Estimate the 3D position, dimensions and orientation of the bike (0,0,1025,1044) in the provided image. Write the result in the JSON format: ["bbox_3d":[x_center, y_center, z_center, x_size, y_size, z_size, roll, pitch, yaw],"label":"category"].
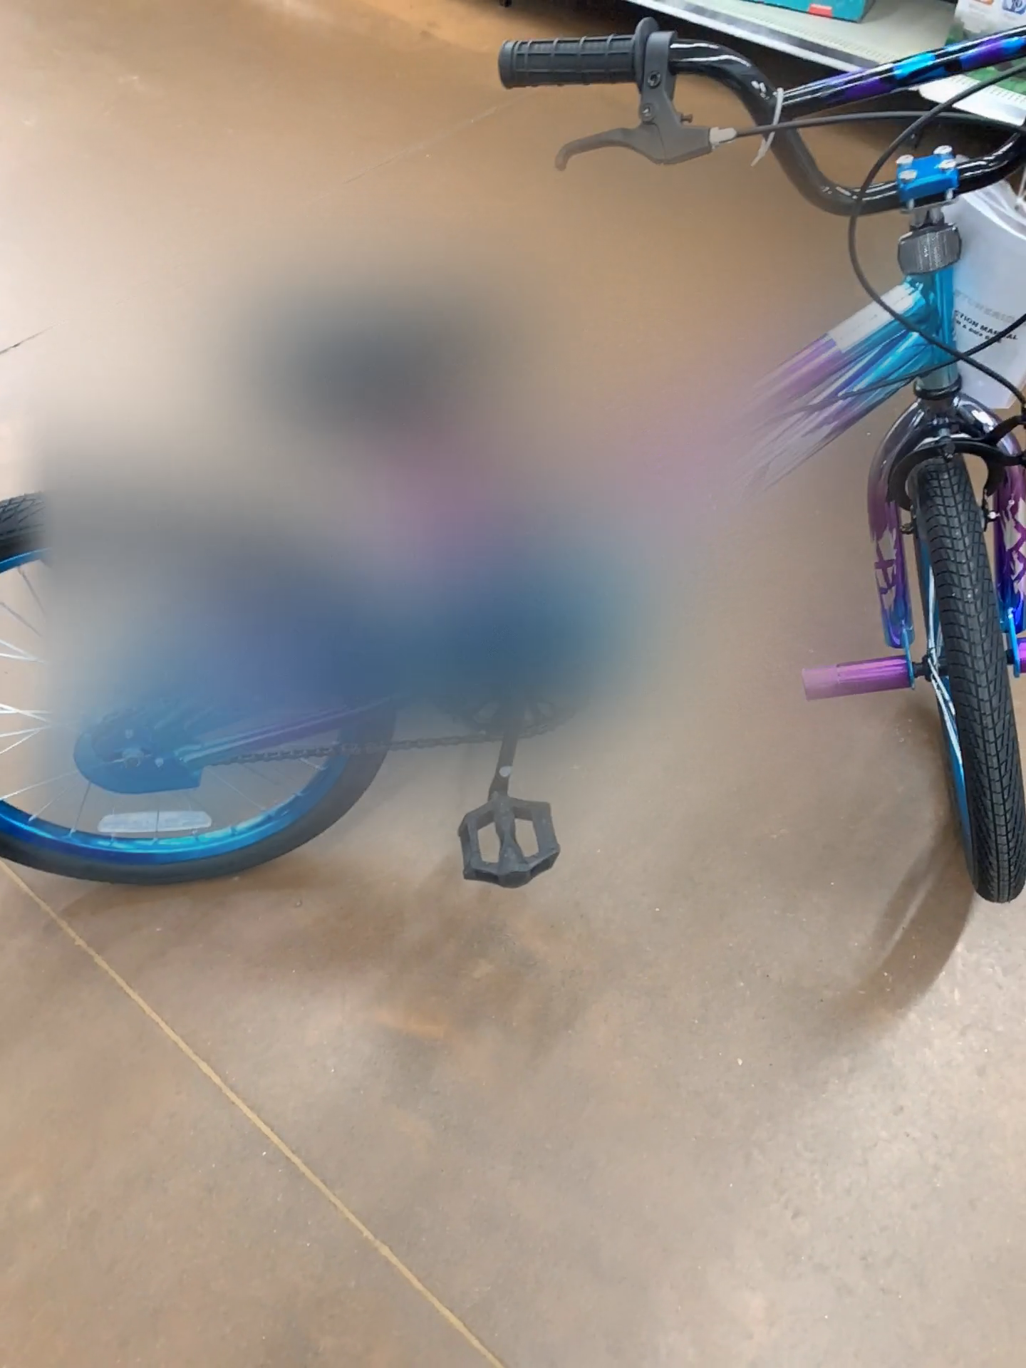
[{"bbox_3d":[-0.136,-0.205,0.882,0.934,0.932,0.580,-3,51,-6],"label":"bike"}]
